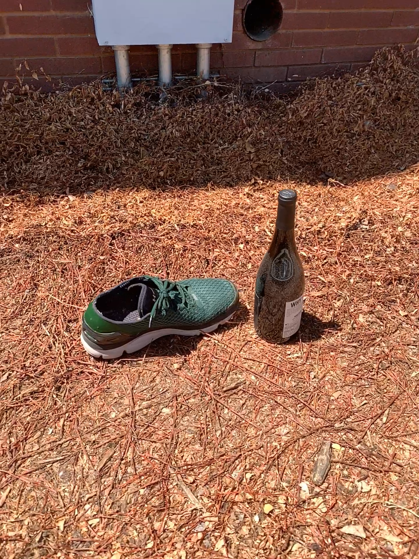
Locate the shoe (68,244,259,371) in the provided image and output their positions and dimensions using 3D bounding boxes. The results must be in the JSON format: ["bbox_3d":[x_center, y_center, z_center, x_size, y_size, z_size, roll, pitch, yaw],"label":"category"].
[{"bbox_3d":[-0.081,0.041,0.763,0.300,0.099,0.131,-13,43,-18],"label":"shoe"}]
